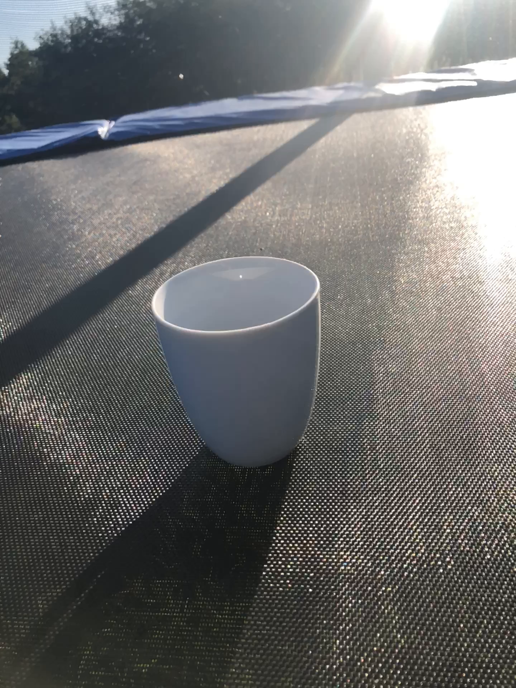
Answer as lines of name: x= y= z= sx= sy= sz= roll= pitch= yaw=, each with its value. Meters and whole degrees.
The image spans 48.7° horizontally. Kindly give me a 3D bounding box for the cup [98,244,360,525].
cup: x=-0.018 y=0.012 z=0.314 sx=0.100 sy=0.089 sz=0.110 roll=-16 pitch=30 yaw=-21
